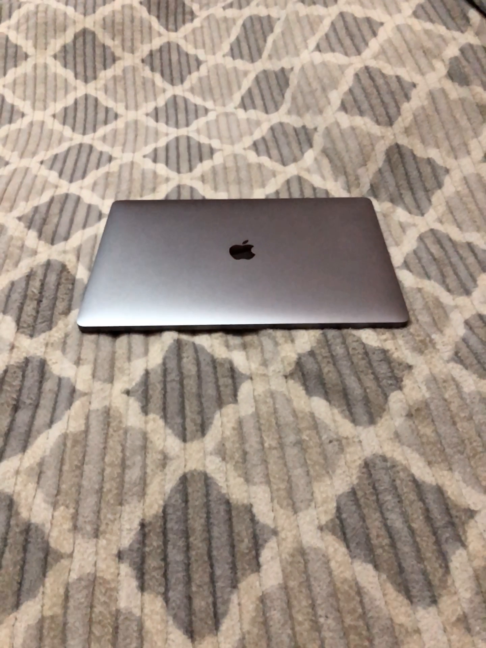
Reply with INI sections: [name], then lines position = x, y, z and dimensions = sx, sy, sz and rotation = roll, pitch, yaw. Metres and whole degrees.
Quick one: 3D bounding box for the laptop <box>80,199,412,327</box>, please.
[laptop]
position = 0.000, -0.087, 0.669
dimensions = 0.358, 0.007, 0.247
rotation = -1, 44, 0
